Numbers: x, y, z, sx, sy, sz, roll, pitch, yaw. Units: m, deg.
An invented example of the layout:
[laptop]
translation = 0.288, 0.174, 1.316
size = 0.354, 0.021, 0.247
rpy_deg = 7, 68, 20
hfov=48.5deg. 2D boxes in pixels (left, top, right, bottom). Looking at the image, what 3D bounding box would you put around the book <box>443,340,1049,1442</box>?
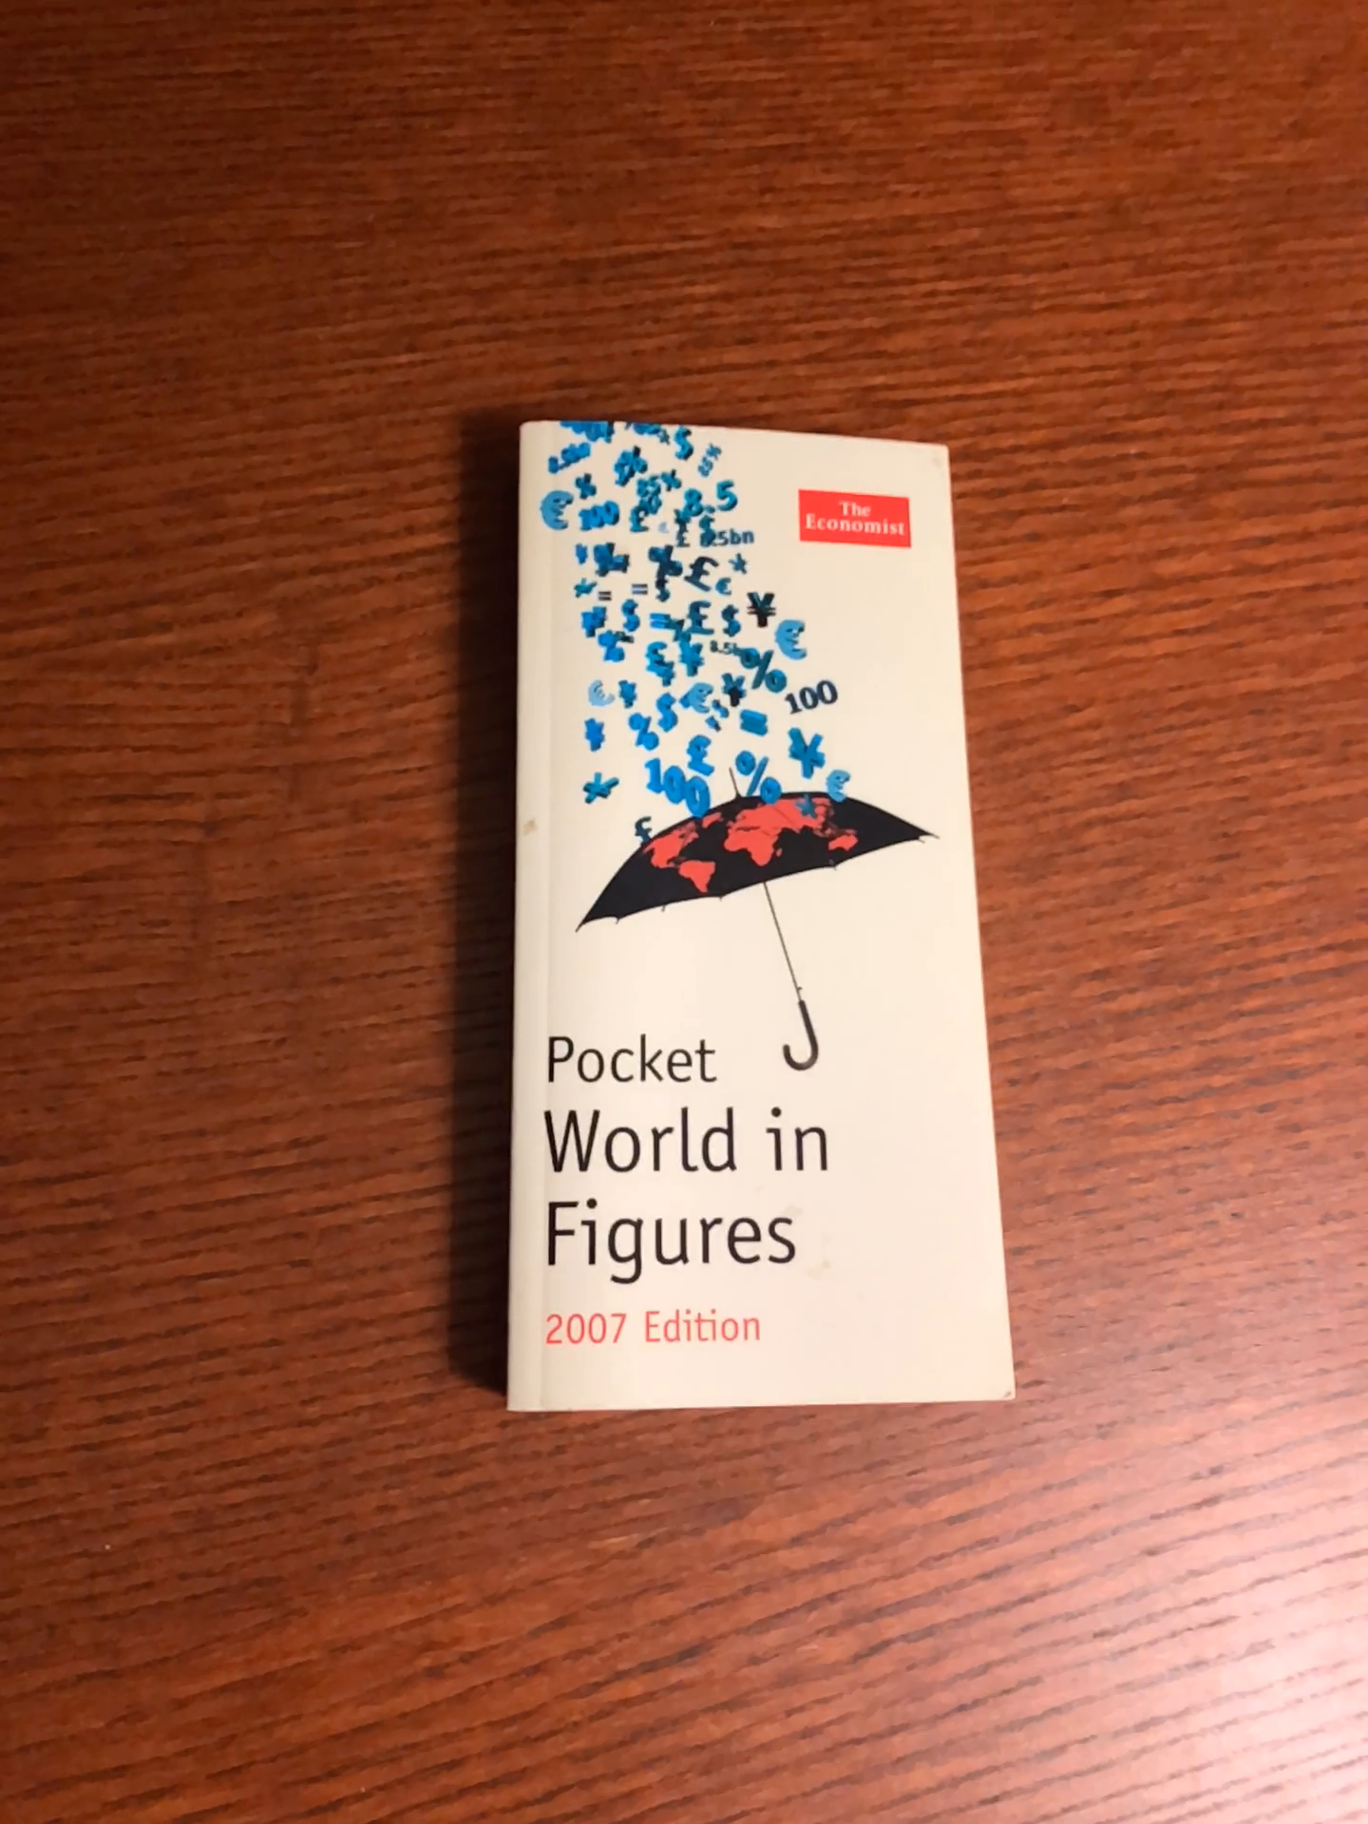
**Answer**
[book]
translation = 0.009, -0.008, 0.287
size = 0.100, 0.030, 0.200
rpy_deg = 1, 76, -7
